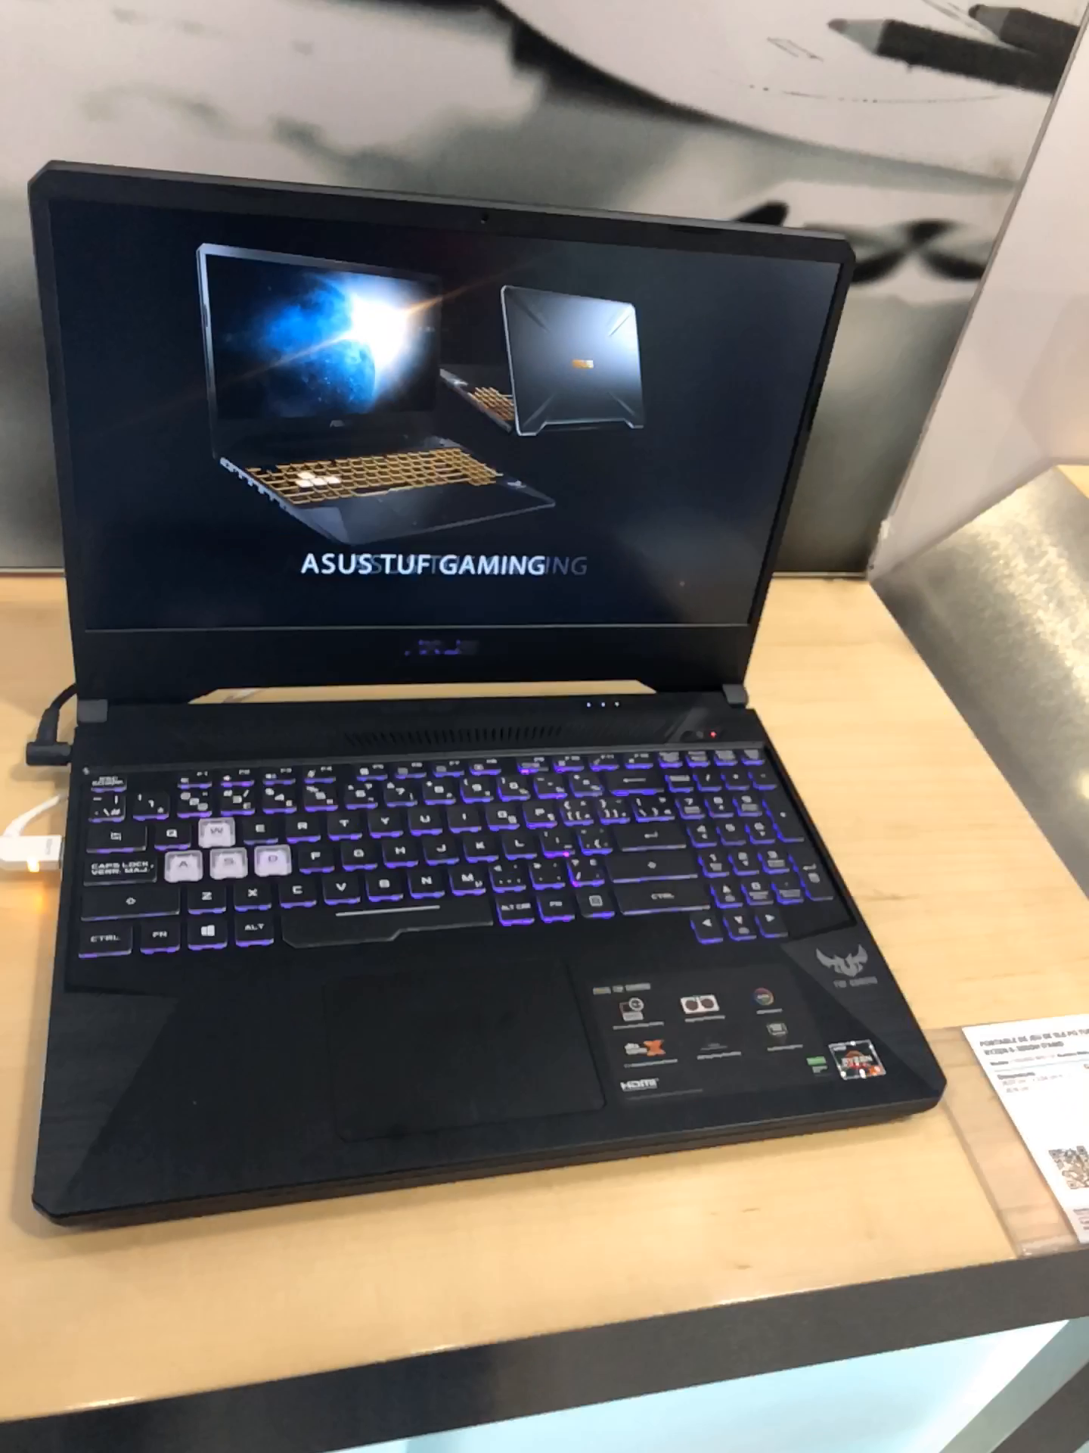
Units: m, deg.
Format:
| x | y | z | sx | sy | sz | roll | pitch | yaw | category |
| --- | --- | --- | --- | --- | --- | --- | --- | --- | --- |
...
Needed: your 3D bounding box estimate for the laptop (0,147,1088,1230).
| x | y | z | sx | sy | sz | roll | pitch | yaw | category |
| --- | --- | --- | --- | --- | --- | --- | --- | --- | --- |
| -0.016 | -0.034 | 0.485 | 0.359 | 0.245 | 0.310 | -2 | 43 | -16 | laptop |
